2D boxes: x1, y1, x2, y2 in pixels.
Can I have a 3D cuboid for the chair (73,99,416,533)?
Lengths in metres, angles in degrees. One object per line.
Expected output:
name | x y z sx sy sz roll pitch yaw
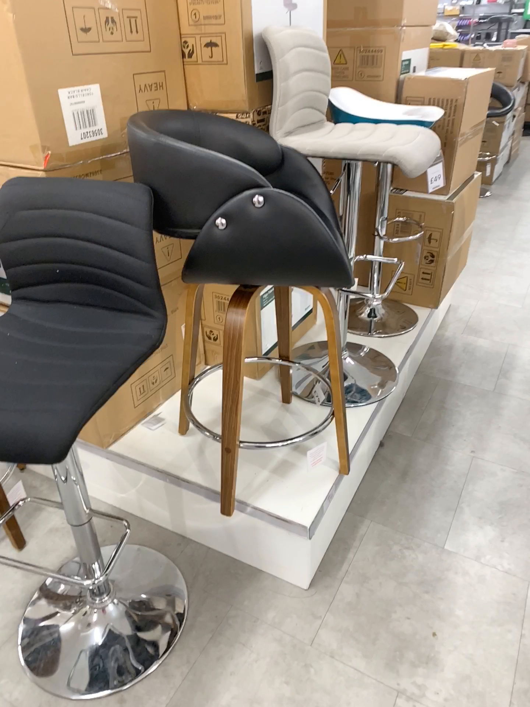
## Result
chair | -0.030 -0.091 1.342 0.546 0.897 0.570 -1 33 0

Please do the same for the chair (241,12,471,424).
chair | 0.240 -0.372 1.526 0.437 0.967 0.437 13 31 23

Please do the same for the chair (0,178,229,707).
chair | -0.444 0.209 1.127 0.485 1.017 0.470 7 30 20
